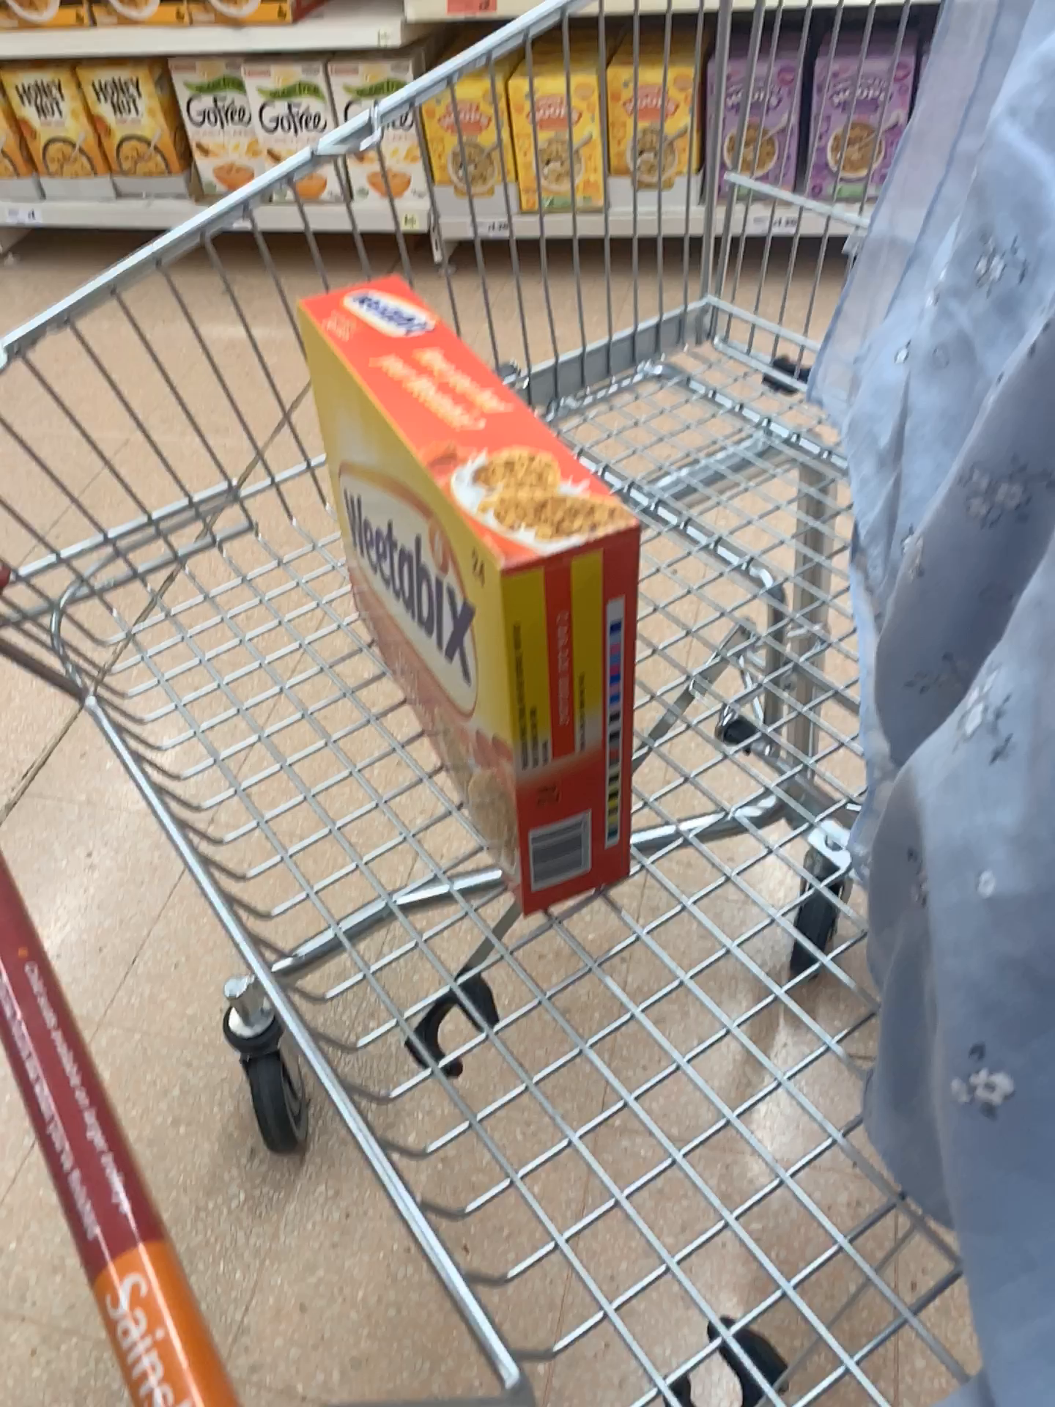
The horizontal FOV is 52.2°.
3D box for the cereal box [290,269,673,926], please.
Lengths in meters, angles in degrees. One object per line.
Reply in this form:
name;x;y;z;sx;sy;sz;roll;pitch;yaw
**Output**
cereal box;-0.030;-0.060;0.508;0.060;0.188;0.262;-19;46;-16
